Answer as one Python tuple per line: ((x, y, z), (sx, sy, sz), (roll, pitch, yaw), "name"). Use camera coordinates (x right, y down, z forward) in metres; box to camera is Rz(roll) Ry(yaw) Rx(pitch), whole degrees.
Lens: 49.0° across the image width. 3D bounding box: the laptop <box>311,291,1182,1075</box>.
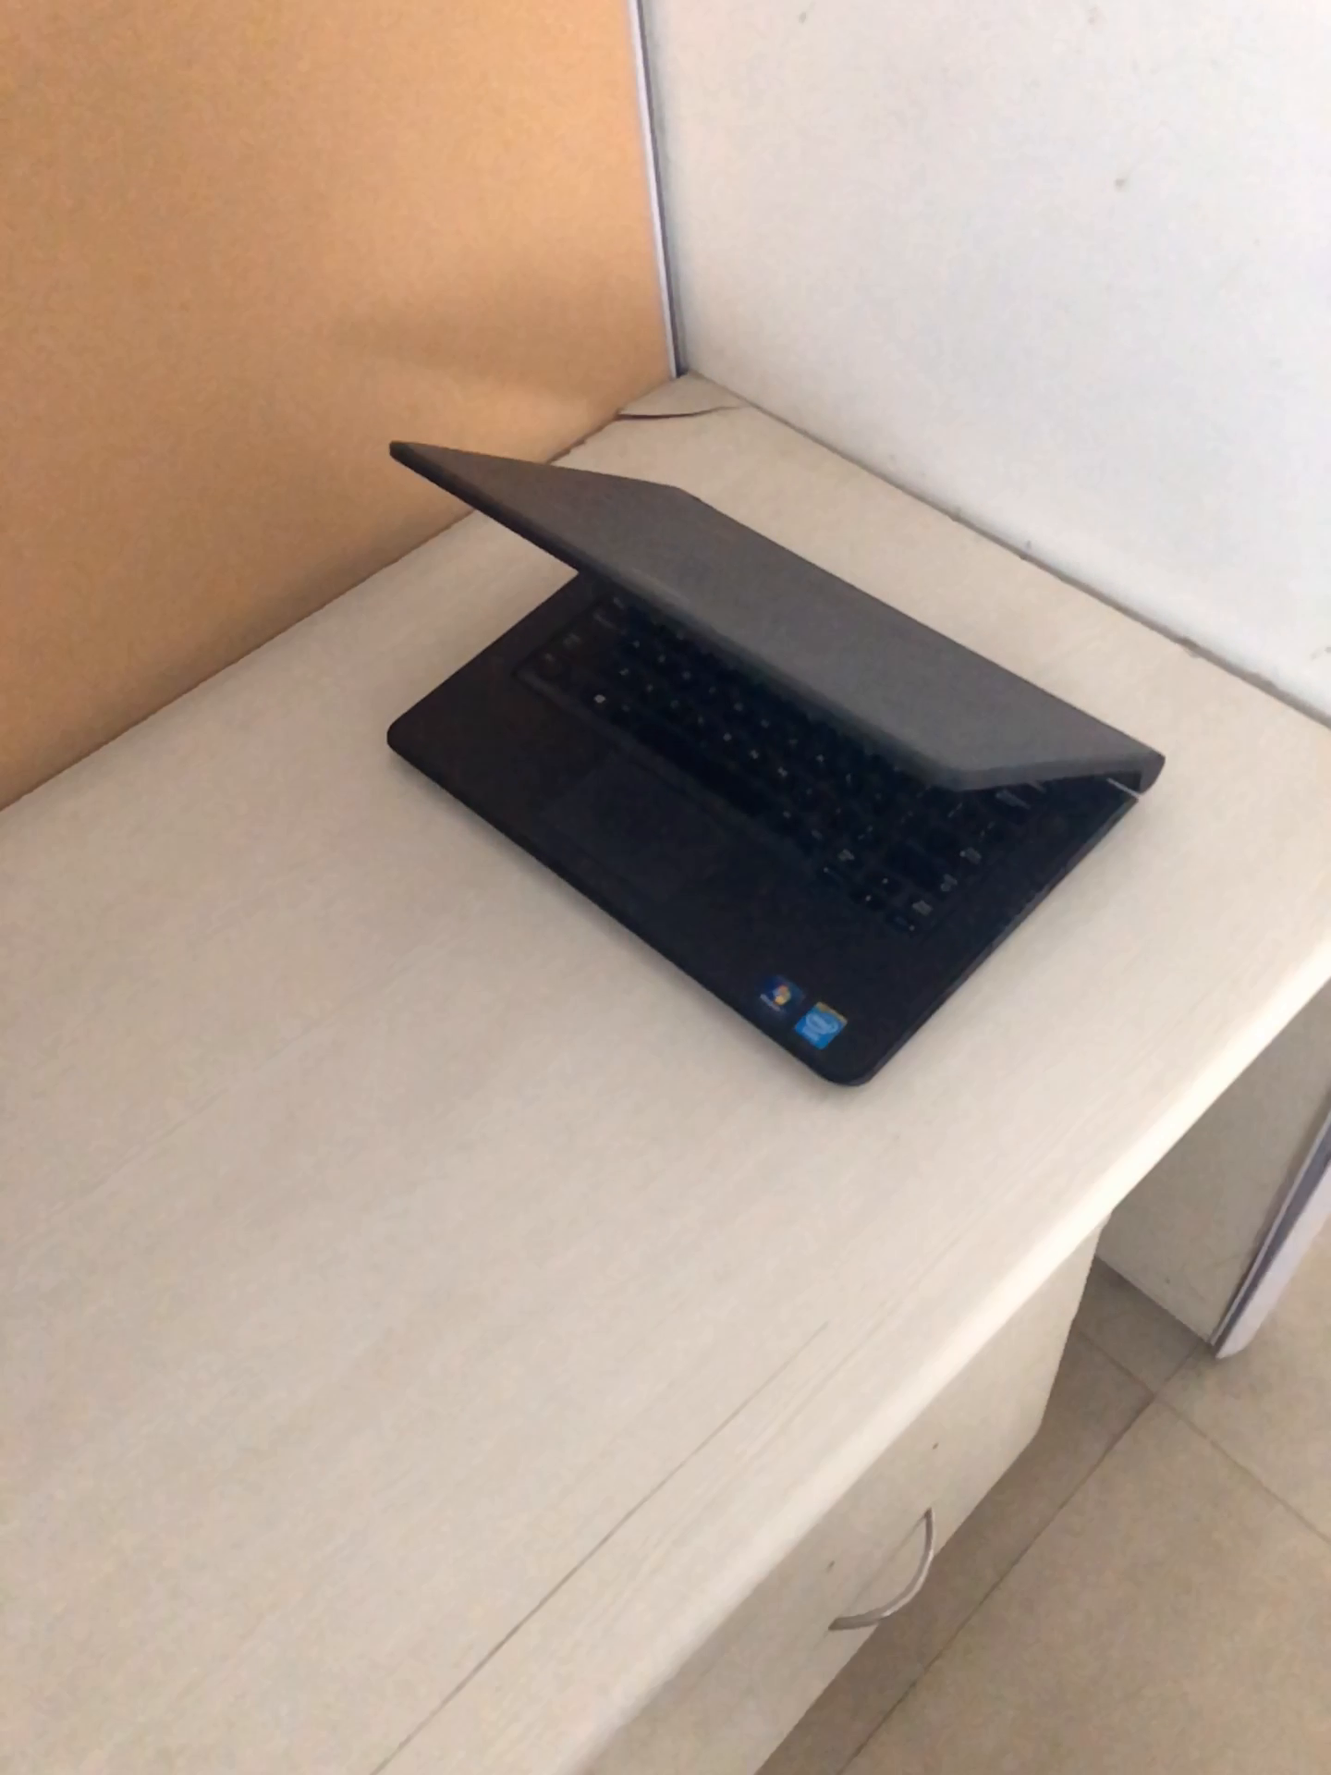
((0.032, -0.113, 0.694), (0.318, 0.154, 0.216), (35, 63, 29), "laptop")
